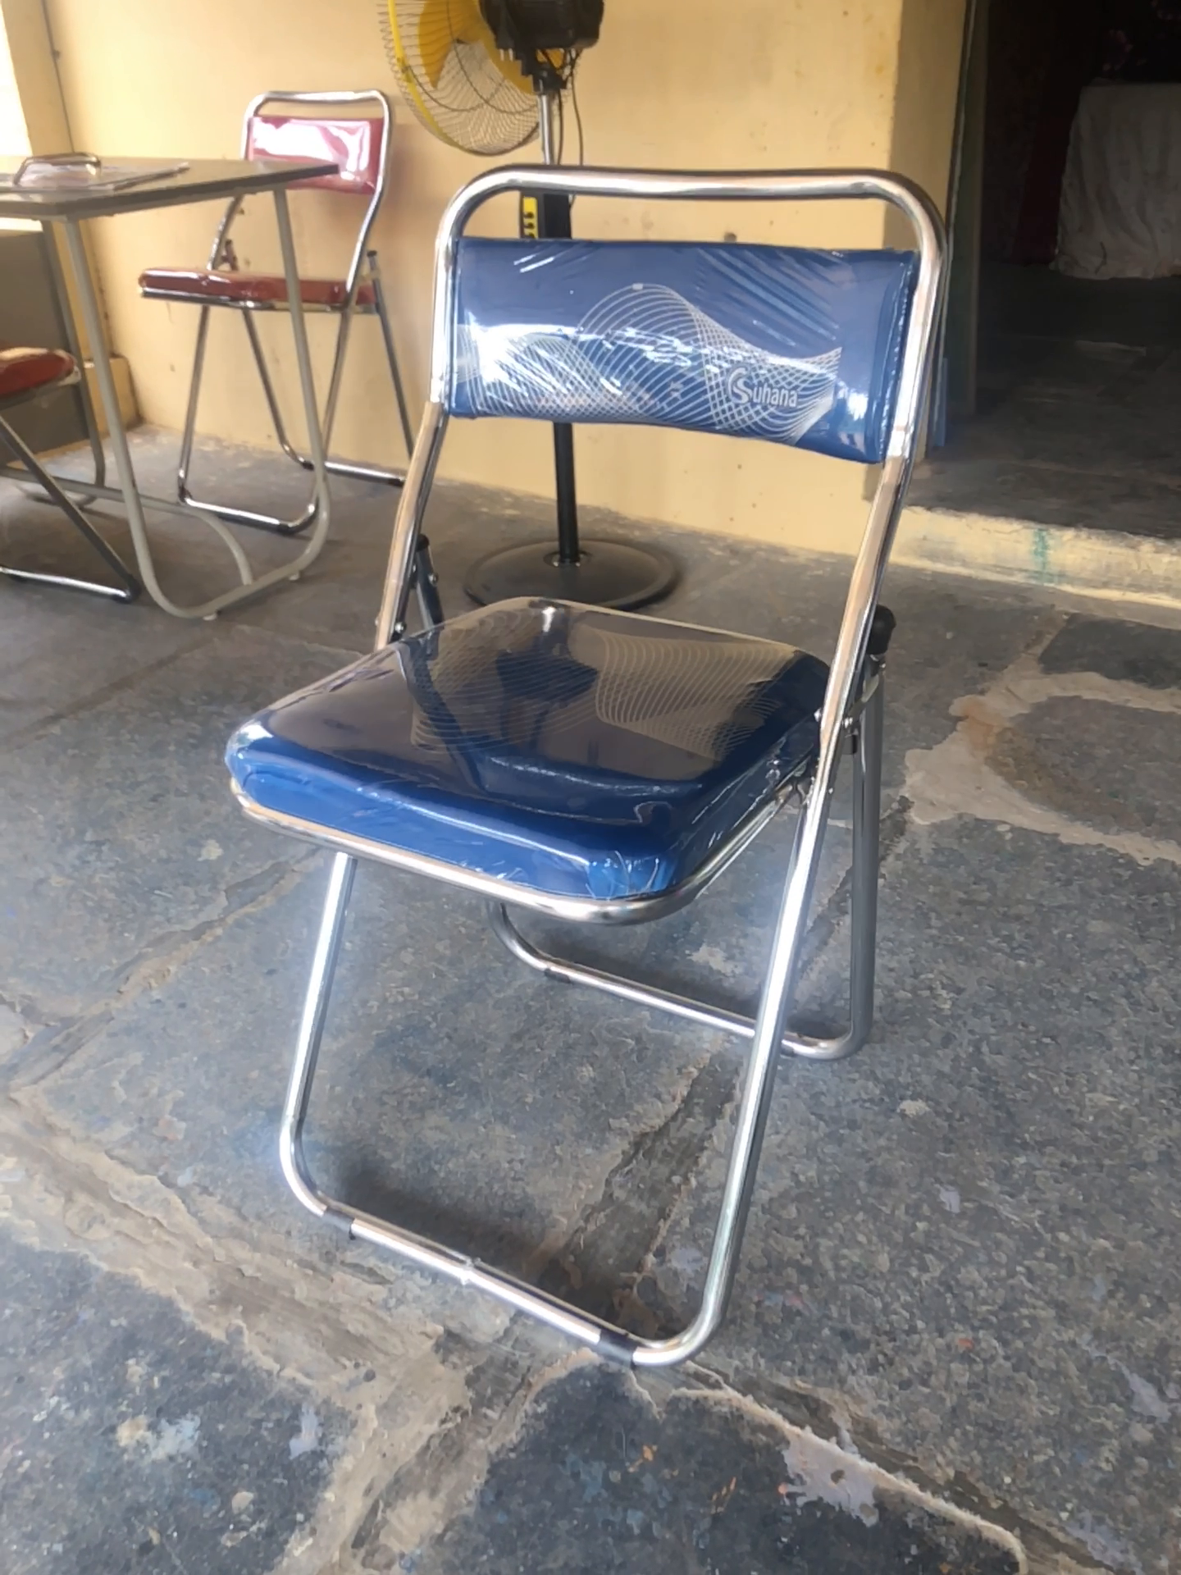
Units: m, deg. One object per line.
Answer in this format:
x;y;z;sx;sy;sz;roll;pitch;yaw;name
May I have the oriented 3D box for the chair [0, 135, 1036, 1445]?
-0.013;-0.057;1.028;0.500;0.806;0.513;13;31;26;chair
